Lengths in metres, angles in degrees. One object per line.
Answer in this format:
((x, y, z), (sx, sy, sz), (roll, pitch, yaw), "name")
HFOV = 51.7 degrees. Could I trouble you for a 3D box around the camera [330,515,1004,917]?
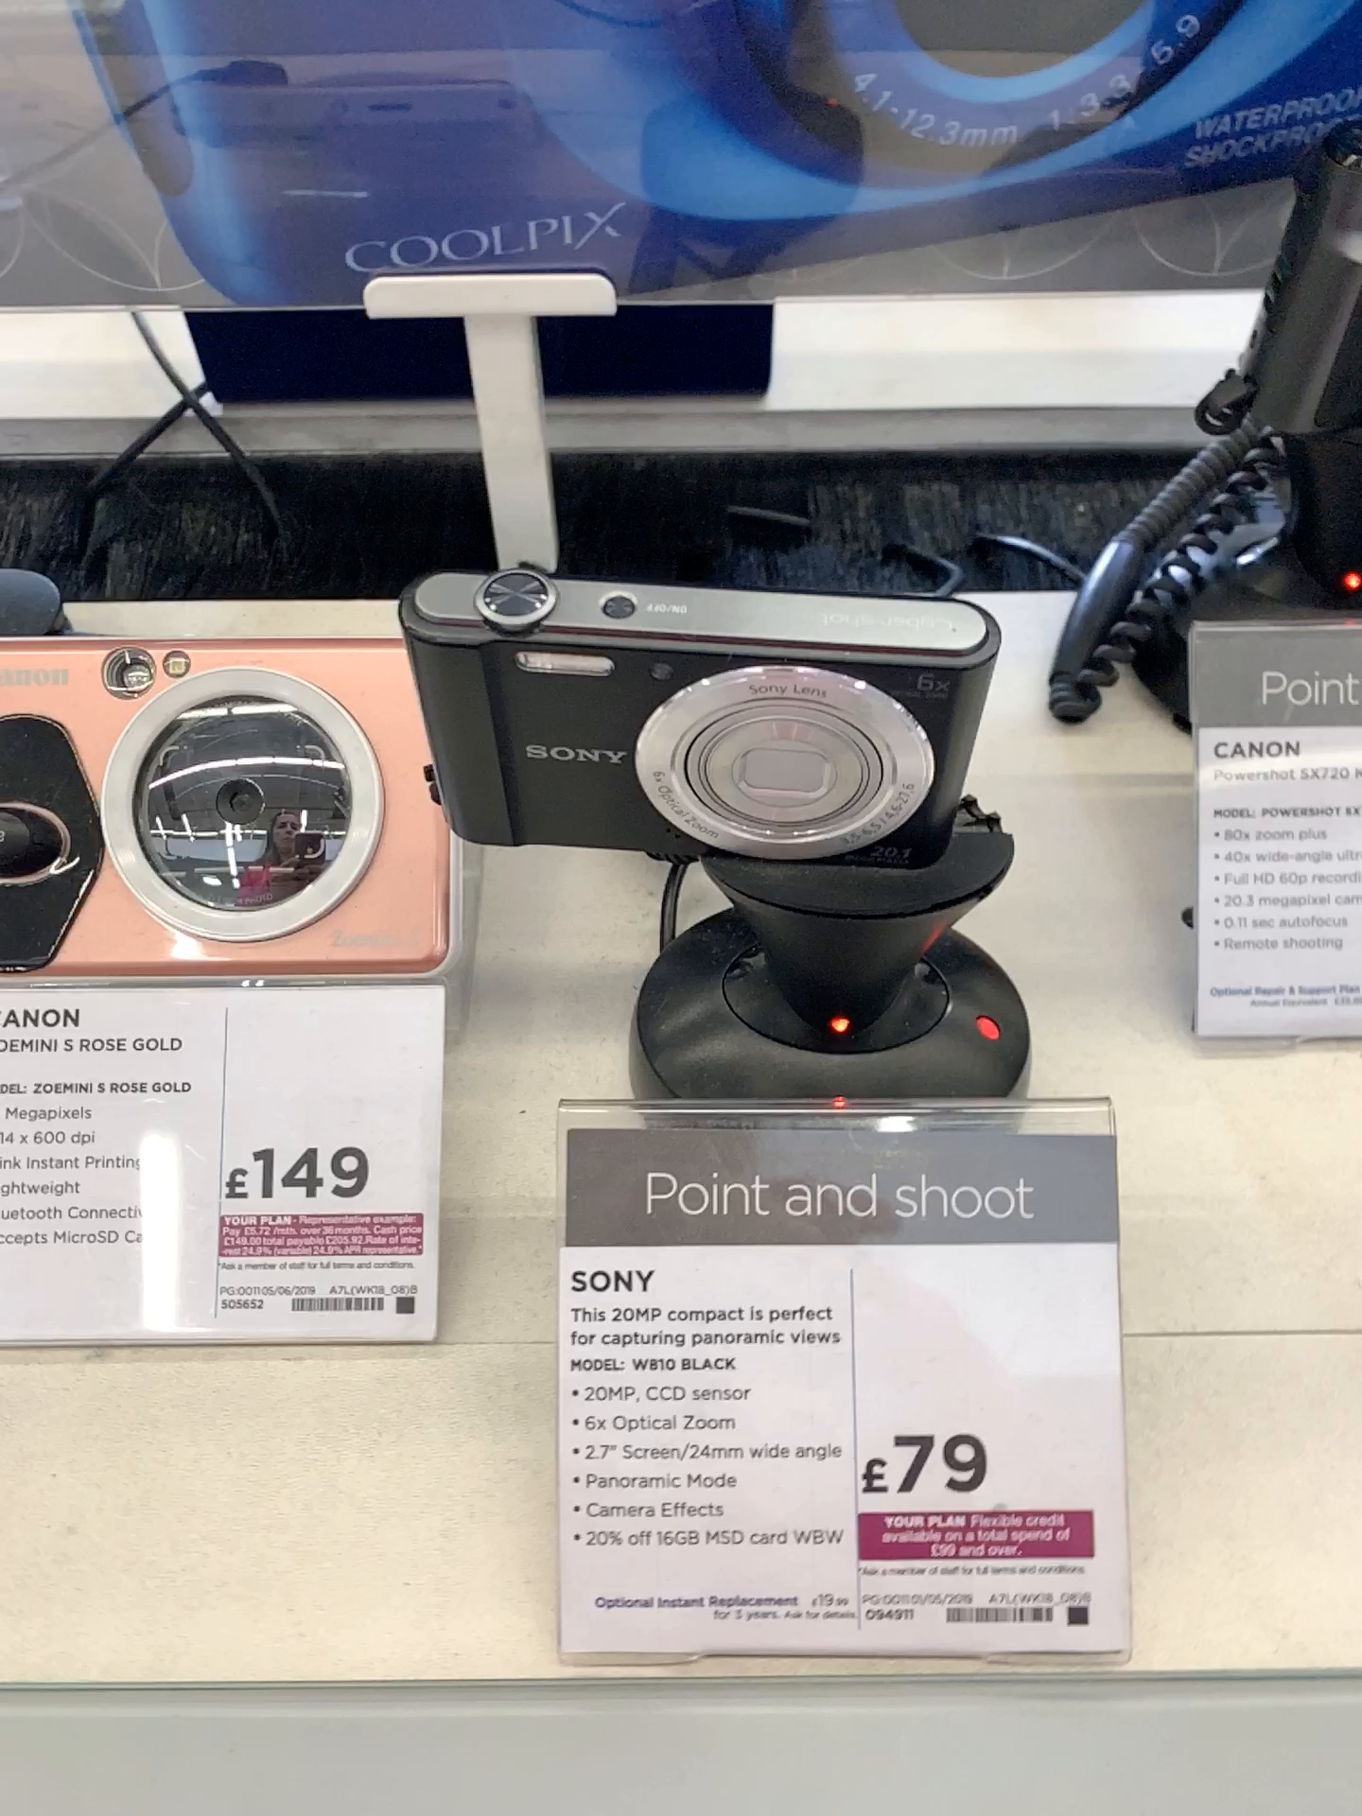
((-0.001, -0.031, 0.241), (0.100, 0.060, 0.030), (3, 53, 3), "camera")
